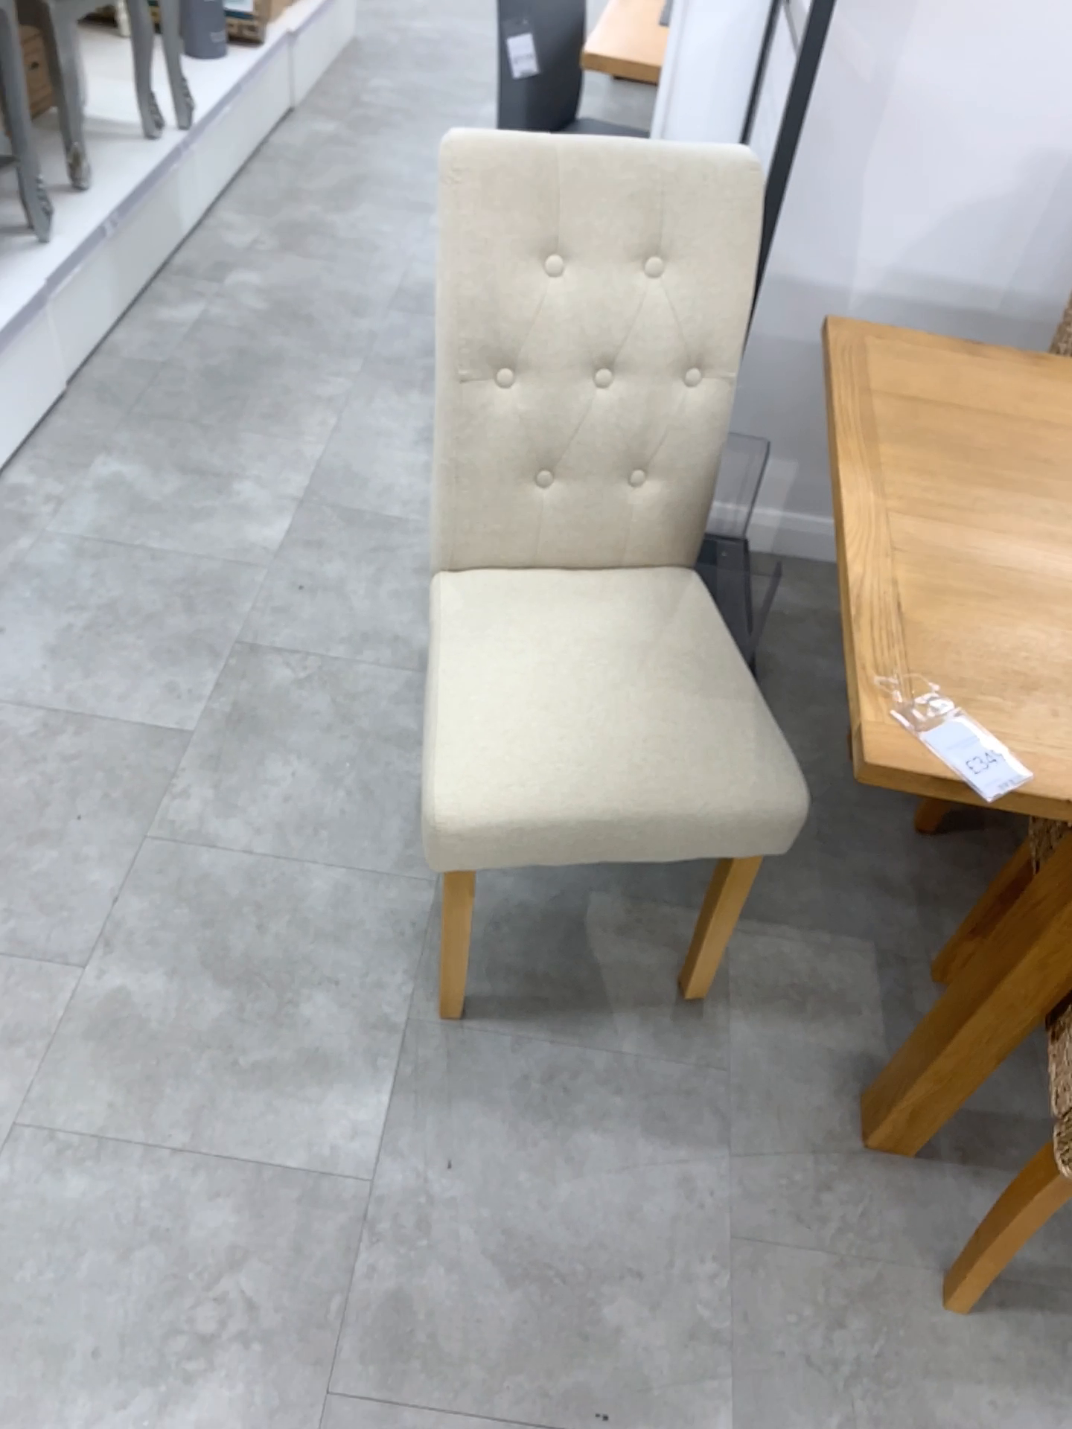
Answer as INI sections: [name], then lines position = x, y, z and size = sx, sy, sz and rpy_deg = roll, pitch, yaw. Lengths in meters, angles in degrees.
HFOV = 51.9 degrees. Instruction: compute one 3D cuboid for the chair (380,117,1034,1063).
[chair]
position = 0.060, -0.112, 1.291
size = 0.420, 0.872, 0.615
rpy_deg = -3, 46, -12
